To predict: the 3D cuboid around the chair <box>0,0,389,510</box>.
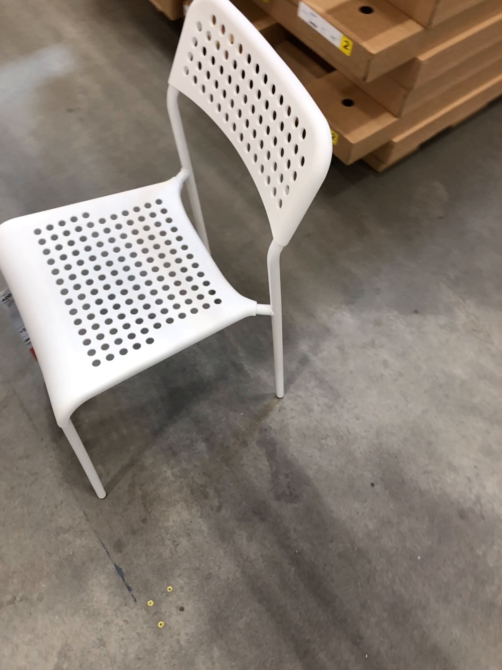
[{"bbox_3d":[-0.196,-0.103,0.939,0.510,0.699,0.461,-23,65,-15],"label":"chair"}]
